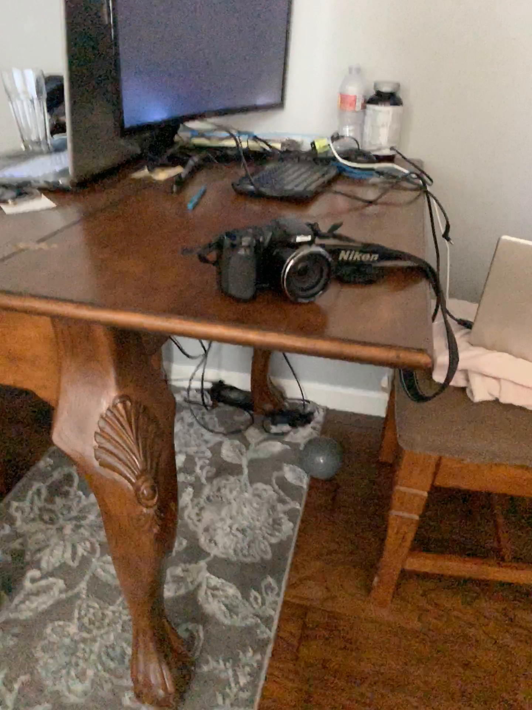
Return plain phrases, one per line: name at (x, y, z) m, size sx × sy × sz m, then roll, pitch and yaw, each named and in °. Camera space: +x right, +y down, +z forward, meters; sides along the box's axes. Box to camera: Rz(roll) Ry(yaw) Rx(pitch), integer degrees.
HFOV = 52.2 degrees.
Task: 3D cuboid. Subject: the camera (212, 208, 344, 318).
camera at (0.010, -0.102, 0.584) m, size 0.110 × 0.079 × 0.091 m, roll -11°, pitch 31°, yaw -21°
